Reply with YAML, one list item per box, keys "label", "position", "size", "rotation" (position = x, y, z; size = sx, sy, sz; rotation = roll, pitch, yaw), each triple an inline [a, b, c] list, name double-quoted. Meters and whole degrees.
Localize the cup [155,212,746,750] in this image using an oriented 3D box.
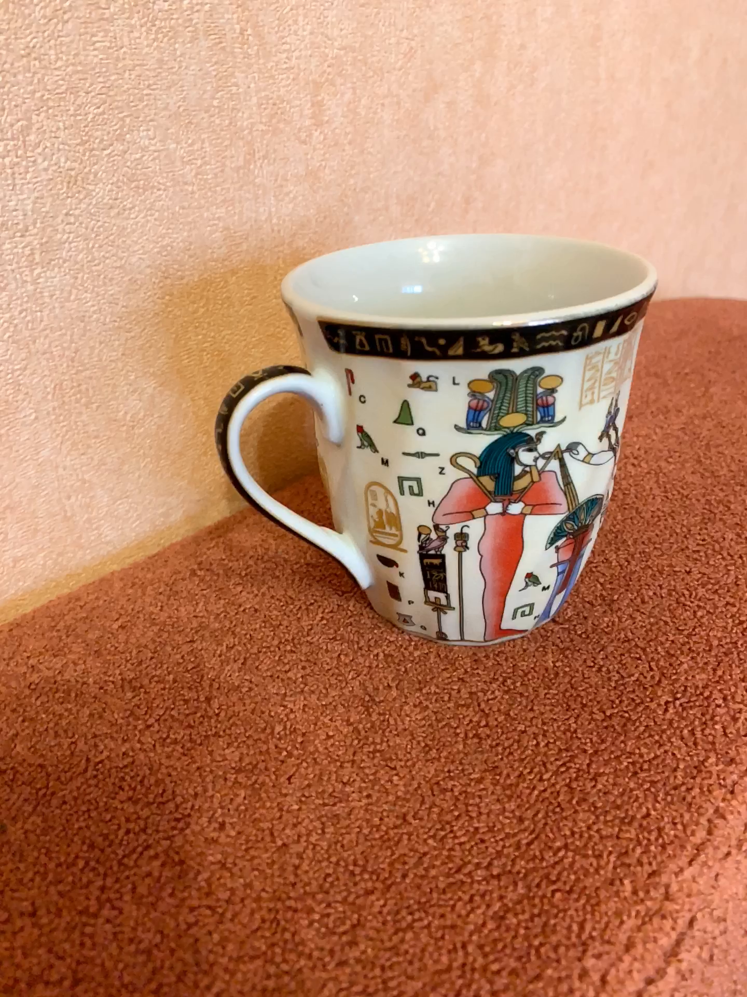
- label: "cup"
  position: [0.017, -0.016, 0.204]
  size: [0.115, 0.087, 0.086]
  rotation: [-15, 33, -21]
